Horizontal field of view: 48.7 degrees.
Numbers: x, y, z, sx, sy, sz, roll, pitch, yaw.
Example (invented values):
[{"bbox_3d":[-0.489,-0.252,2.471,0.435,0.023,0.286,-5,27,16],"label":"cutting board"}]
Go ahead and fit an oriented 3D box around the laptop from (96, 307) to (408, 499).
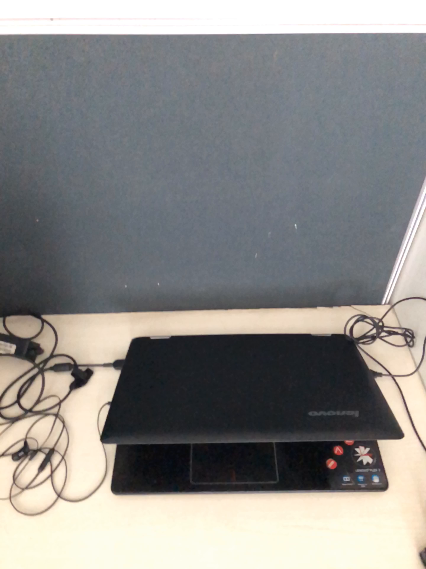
[{"bbox_3d":[0.040,0.140,0.599,0.326,0.083,0.220,-1,44,1],"label":"laptop"}]
